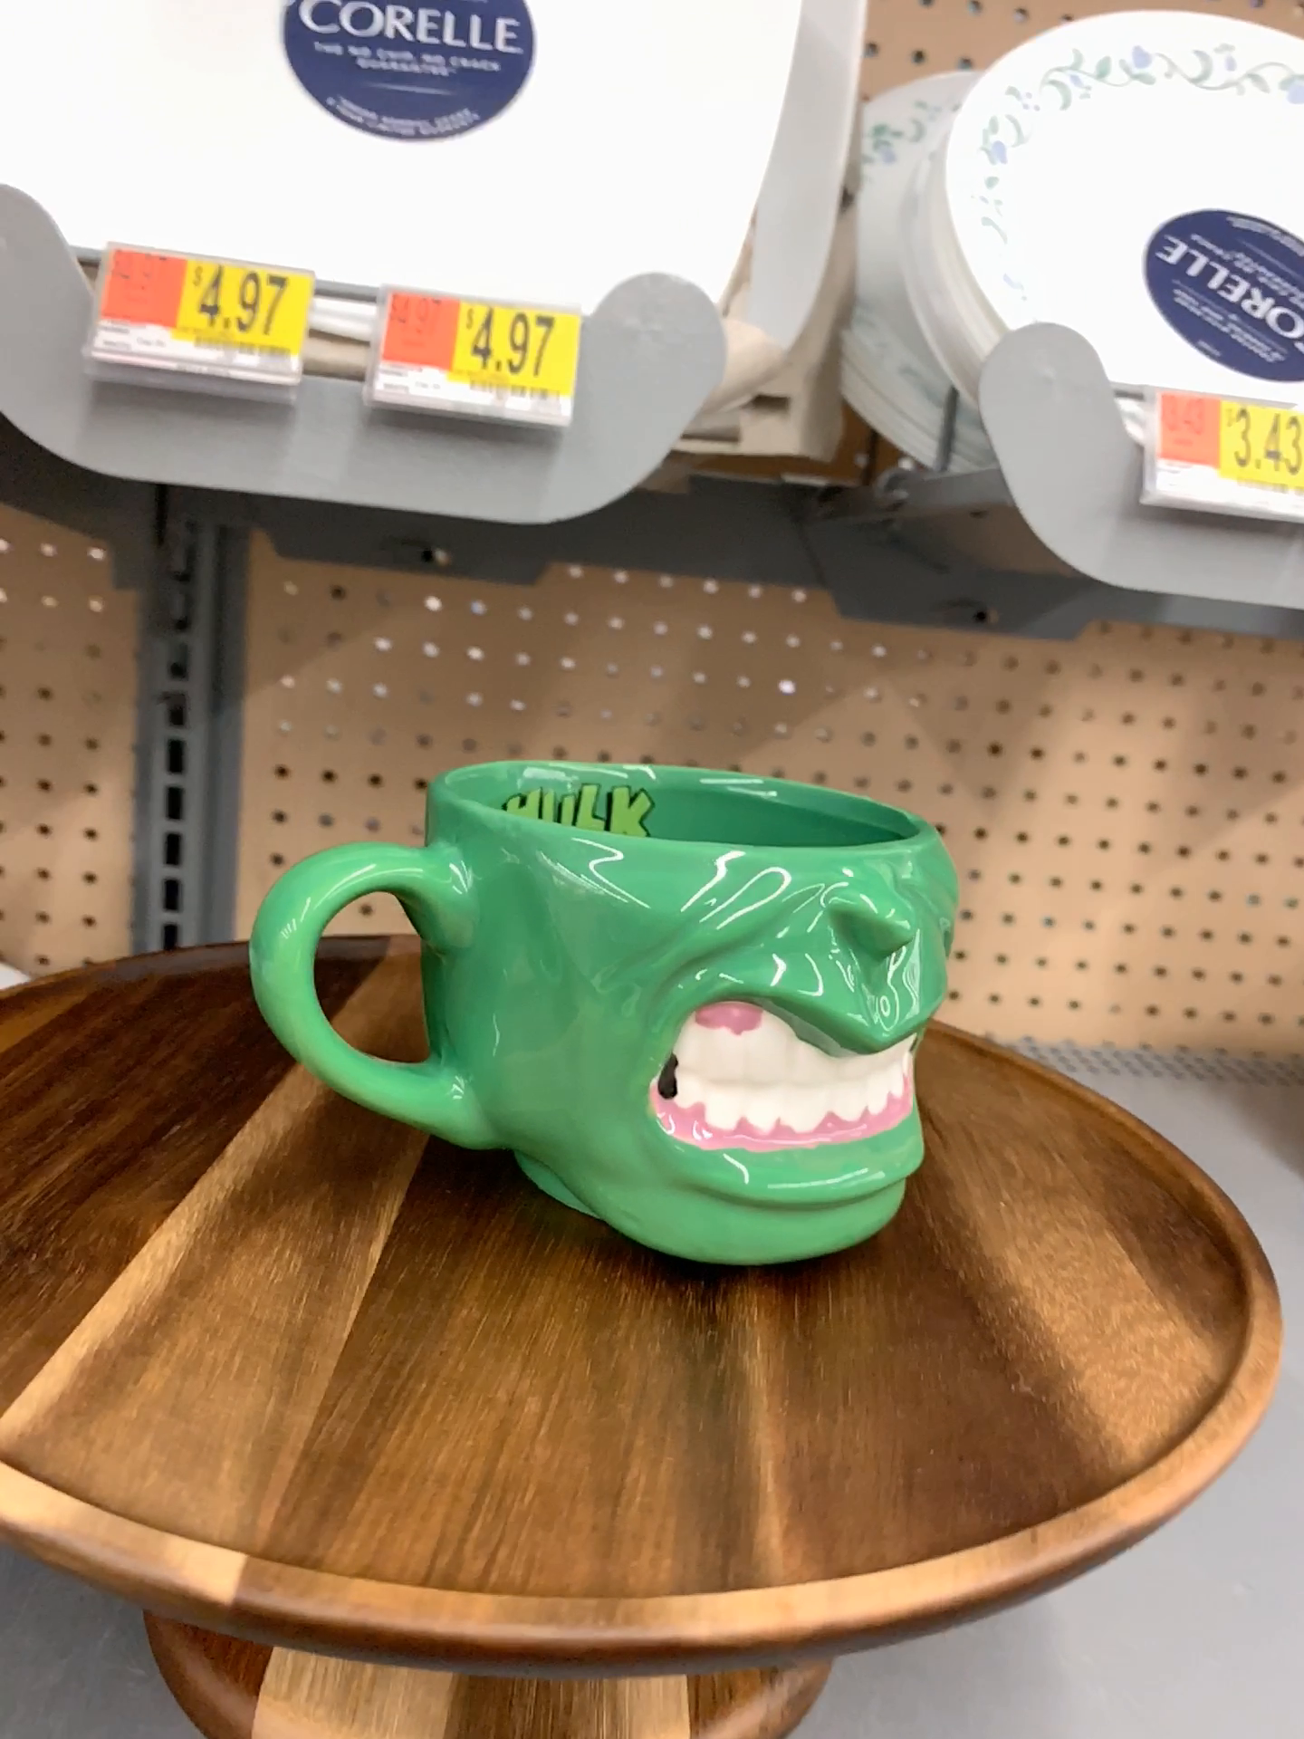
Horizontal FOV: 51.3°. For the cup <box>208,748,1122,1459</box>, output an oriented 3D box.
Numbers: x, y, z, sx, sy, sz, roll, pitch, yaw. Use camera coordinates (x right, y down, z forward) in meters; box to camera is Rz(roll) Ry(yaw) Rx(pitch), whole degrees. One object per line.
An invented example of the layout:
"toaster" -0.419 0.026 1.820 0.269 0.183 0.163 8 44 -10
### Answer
"cup" -0.004 0.030 0.294 0.140 0.090 0.130 6 12 -1
